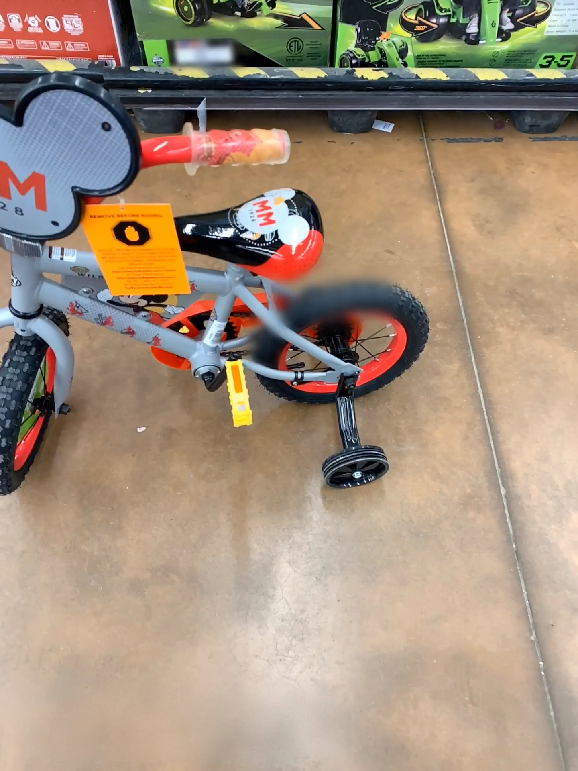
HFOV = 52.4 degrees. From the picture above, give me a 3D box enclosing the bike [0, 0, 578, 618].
[{"bbox_3d":[-0.131,-0.123,0.766,0.641,0.689,0.453,-16,57,-7],"label":"bike"}]
